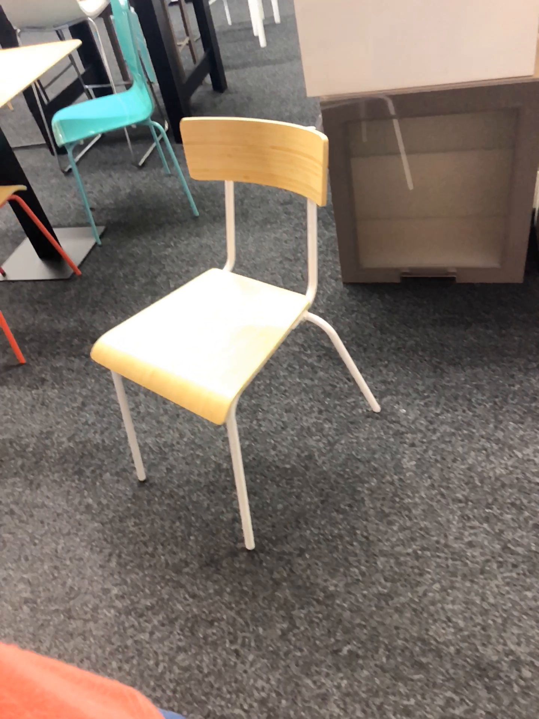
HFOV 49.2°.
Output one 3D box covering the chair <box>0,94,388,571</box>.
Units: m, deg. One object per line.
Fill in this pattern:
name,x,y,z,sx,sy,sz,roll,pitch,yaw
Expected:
chair,-0.129,-0.071,1.368,0.540,0.816,0.583,20,52,32
